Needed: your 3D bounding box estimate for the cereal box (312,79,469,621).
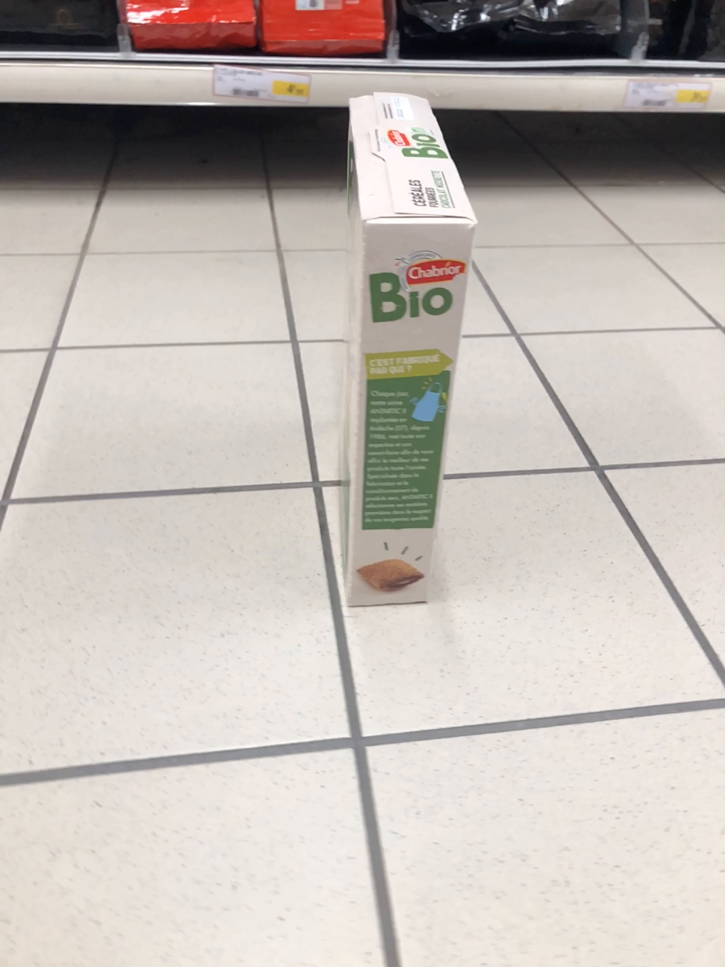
[{"bbox_3d":[0.004,-0.081,0.466,0.060,0.238,0.211,1,38,-3],"label":"cereal box"}]
